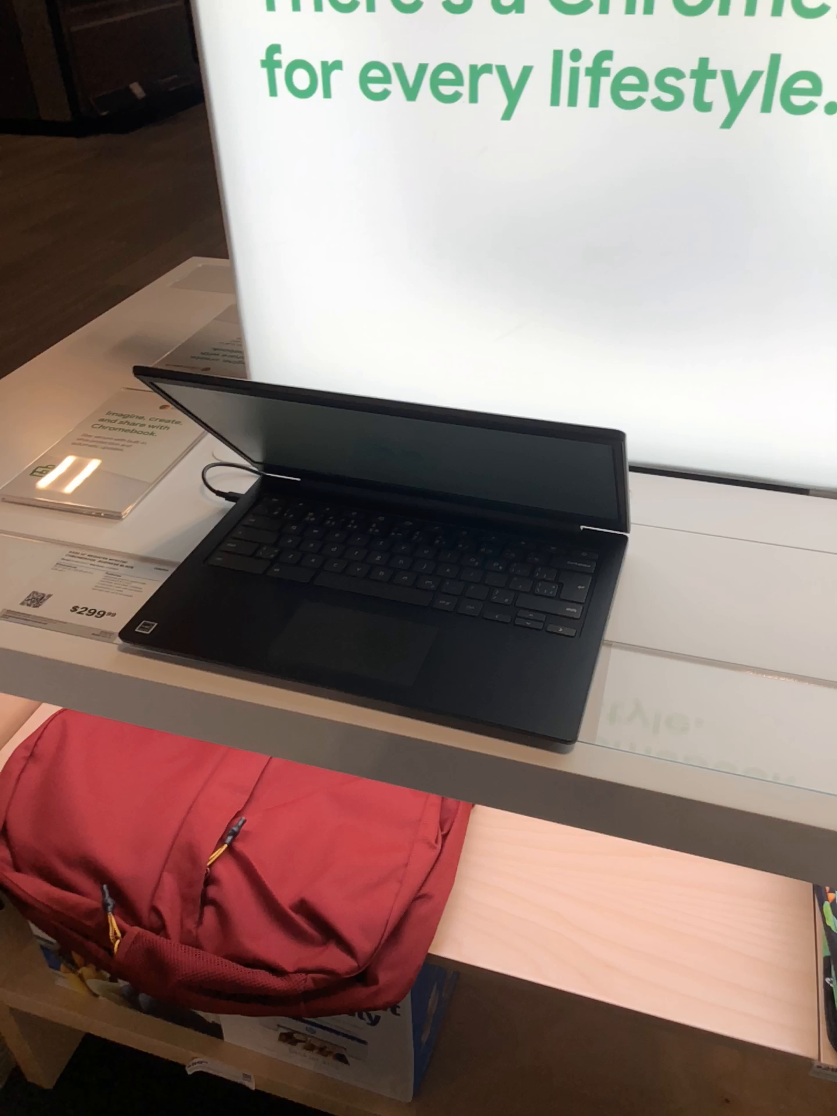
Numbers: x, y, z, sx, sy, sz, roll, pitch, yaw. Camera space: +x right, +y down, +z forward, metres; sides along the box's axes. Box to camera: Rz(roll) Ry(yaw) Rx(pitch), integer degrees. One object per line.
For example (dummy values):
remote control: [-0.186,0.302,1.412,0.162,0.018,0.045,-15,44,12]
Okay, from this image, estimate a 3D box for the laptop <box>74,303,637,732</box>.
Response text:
laptop: [-0.028,-0.046,0.637,0.307,0.157,0.214,10,39,17]
